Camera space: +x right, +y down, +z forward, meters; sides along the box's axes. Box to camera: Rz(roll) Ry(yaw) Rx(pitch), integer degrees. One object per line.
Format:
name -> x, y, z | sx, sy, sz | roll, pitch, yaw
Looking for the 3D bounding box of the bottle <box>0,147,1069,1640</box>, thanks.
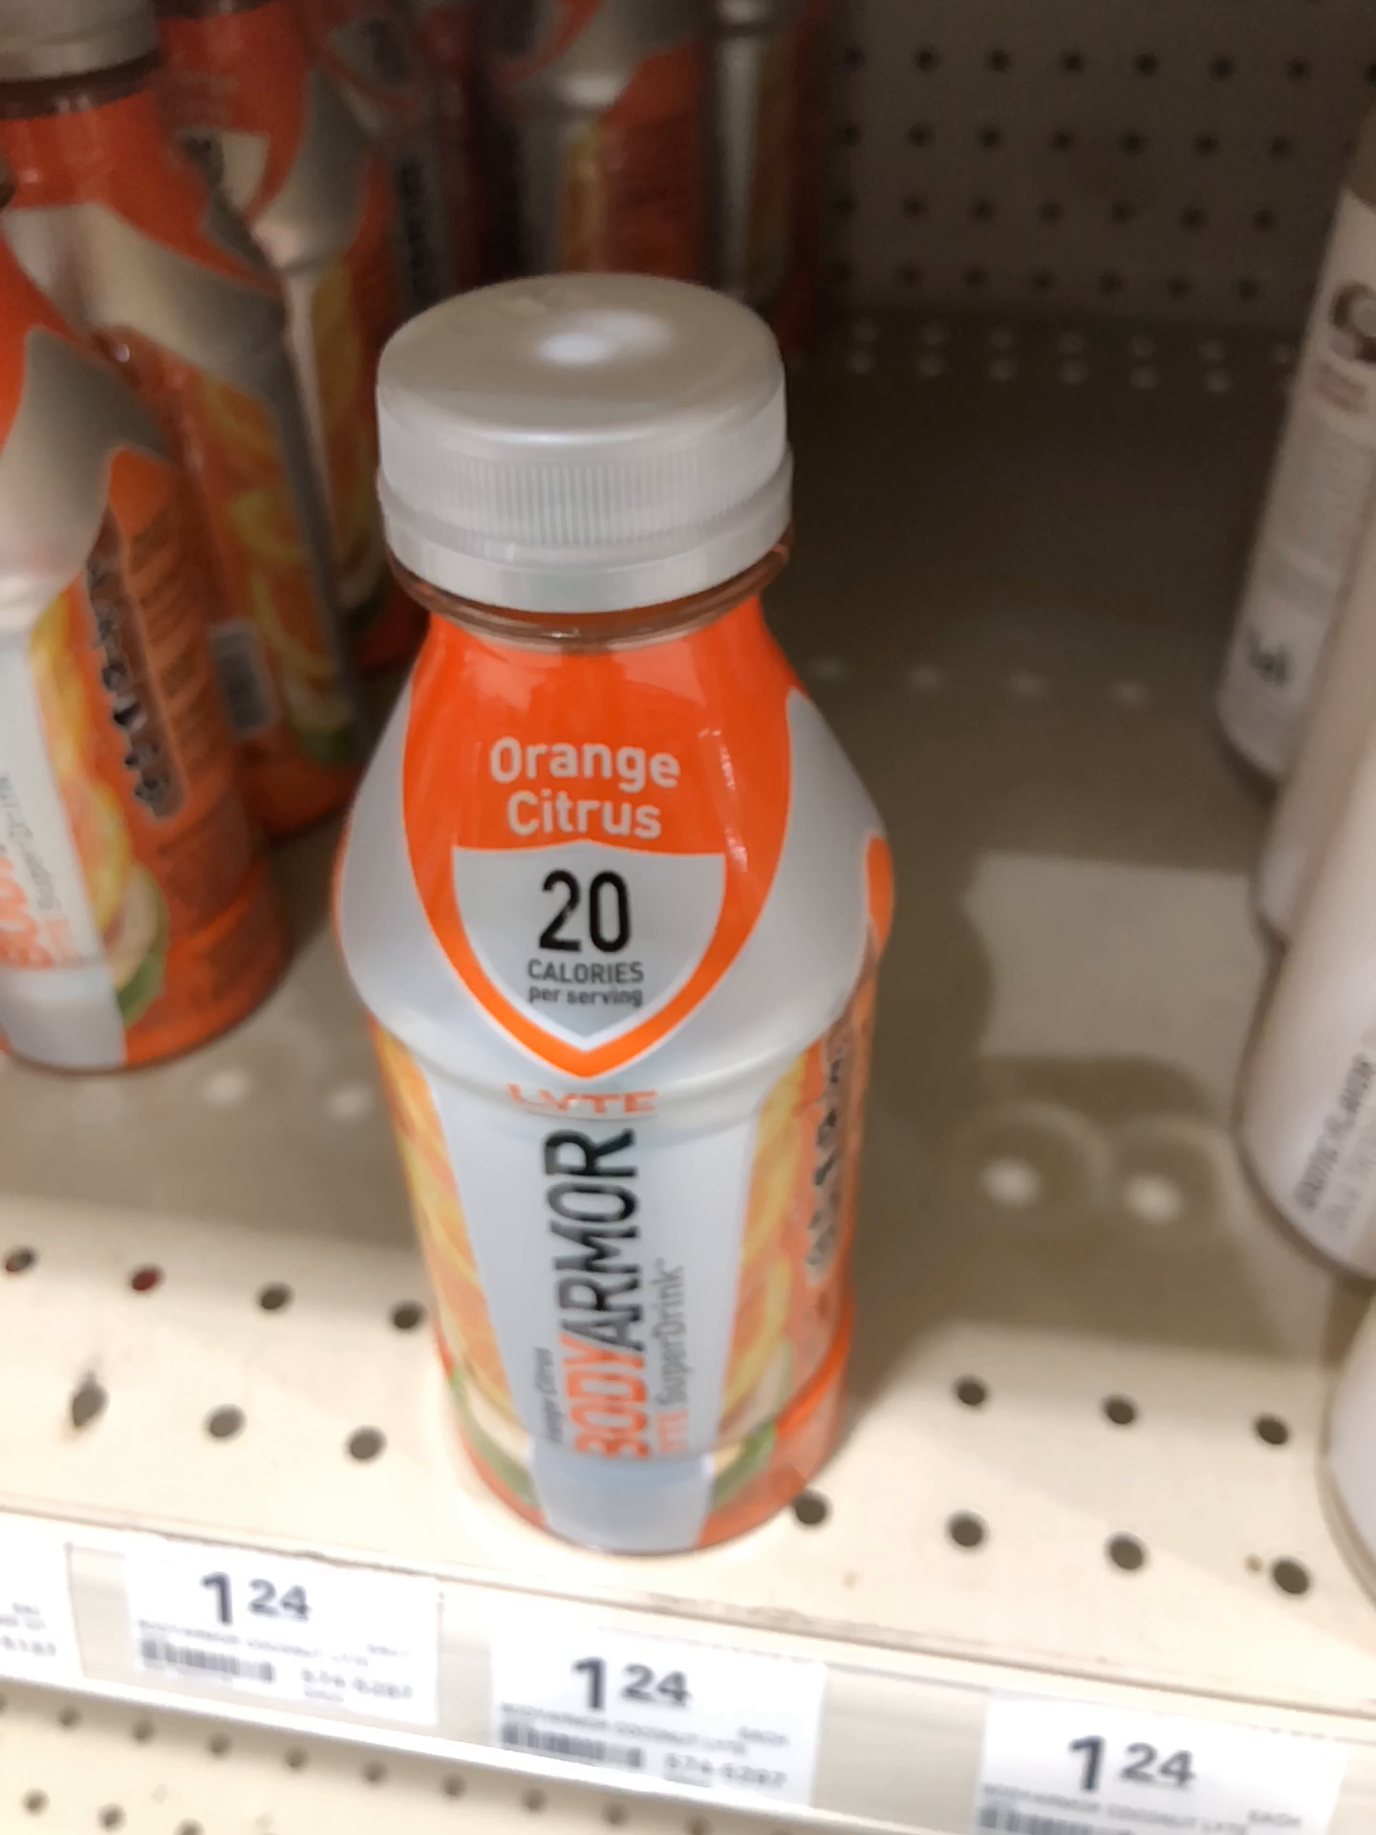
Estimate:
bottle -> -0.007, 0.011, 0.202 | 0.080, 0.180, 0.080 | -1, 44, 1
